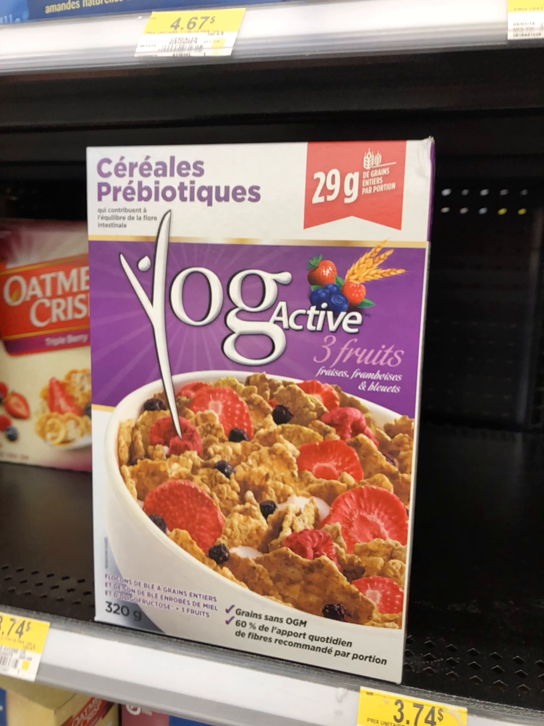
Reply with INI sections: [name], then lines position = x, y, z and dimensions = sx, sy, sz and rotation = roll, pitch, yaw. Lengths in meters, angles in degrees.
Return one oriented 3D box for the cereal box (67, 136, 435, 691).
[cereal box]
position = -0.014, 0.023, 0.351
dimensions = 0.190, 0.279, 0.060
rotation = 4, 10, 16
